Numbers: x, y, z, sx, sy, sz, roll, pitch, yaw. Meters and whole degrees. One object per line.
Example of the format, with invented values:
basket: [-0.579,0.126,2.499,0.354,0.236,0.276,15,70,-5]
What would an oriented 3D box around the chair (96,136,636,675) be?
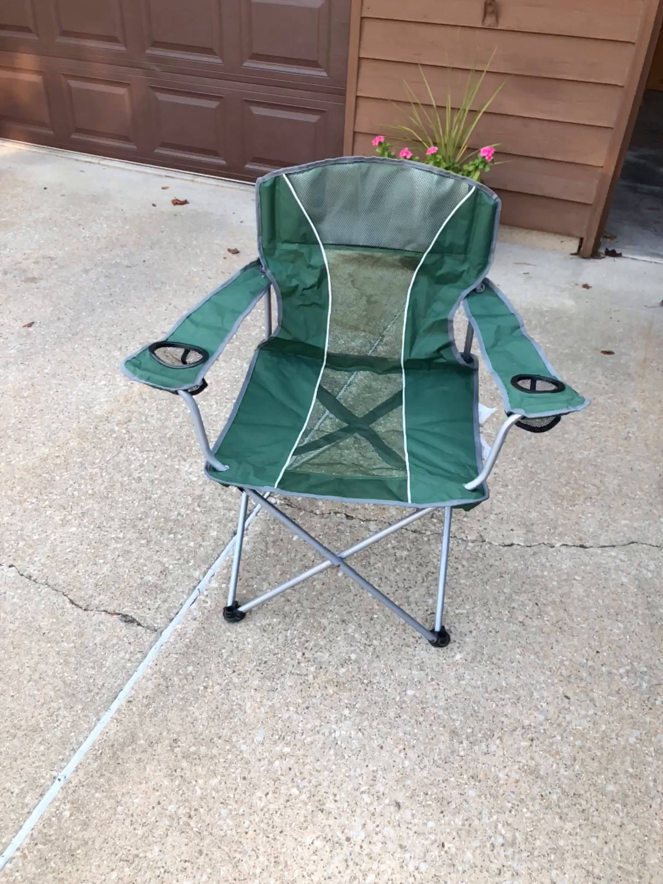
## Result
chair: [0.061,-0.093,1.623,0.820,0.908,0.642,7,35,5]
